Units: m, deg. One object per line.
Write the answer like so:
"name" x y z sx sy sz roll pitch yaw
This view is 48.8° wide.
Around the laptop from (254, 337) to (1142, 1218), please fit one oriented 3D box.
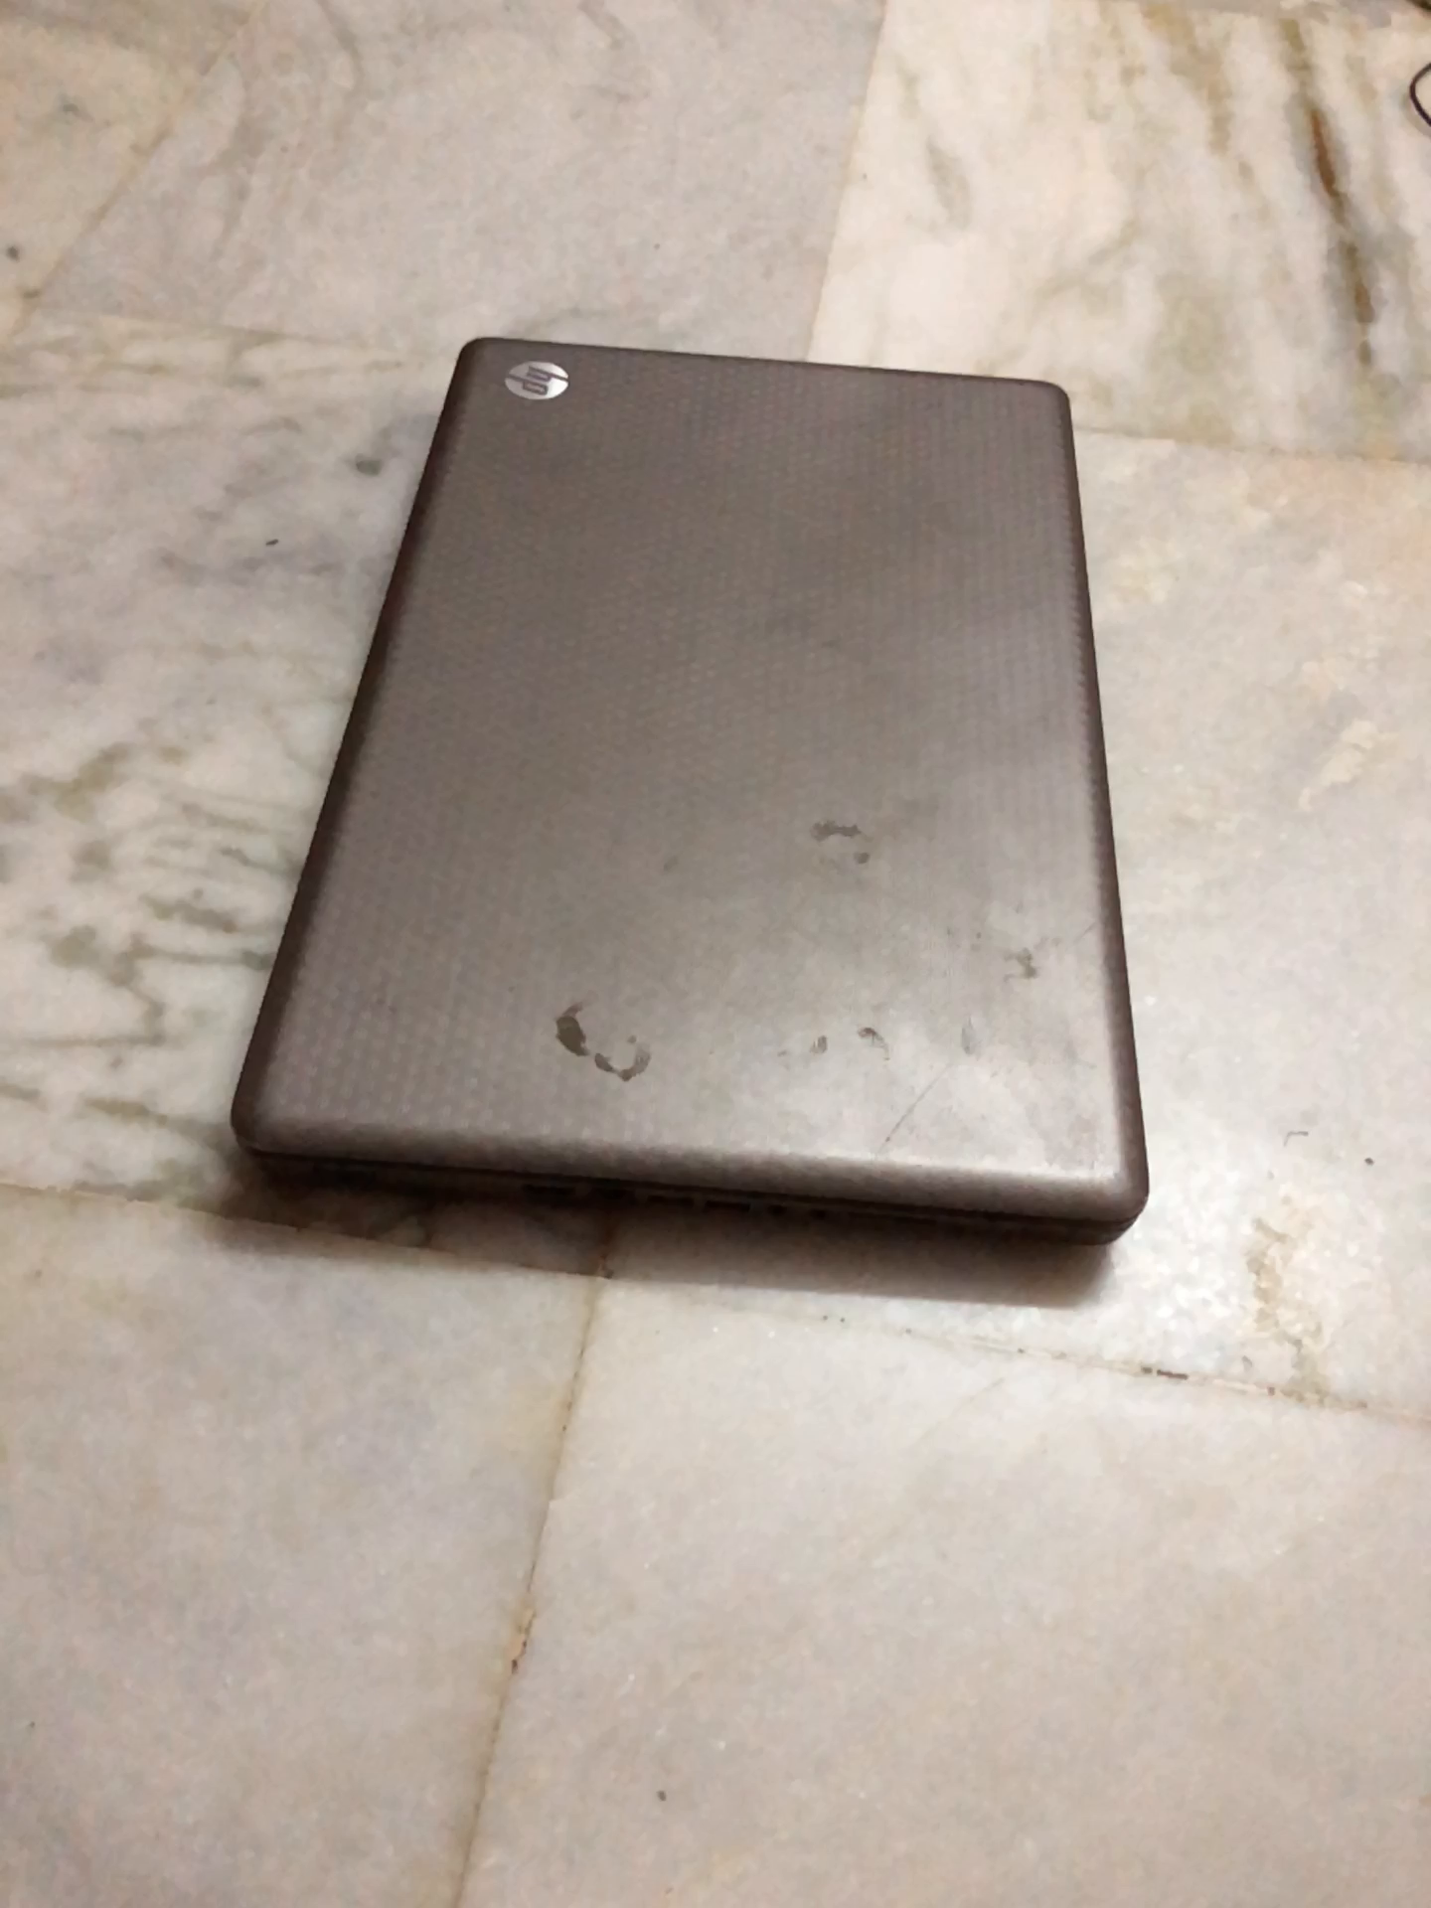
"laptop" 0.009 -0.096 0.564 0.252 0.003 0.396 5 54 1
